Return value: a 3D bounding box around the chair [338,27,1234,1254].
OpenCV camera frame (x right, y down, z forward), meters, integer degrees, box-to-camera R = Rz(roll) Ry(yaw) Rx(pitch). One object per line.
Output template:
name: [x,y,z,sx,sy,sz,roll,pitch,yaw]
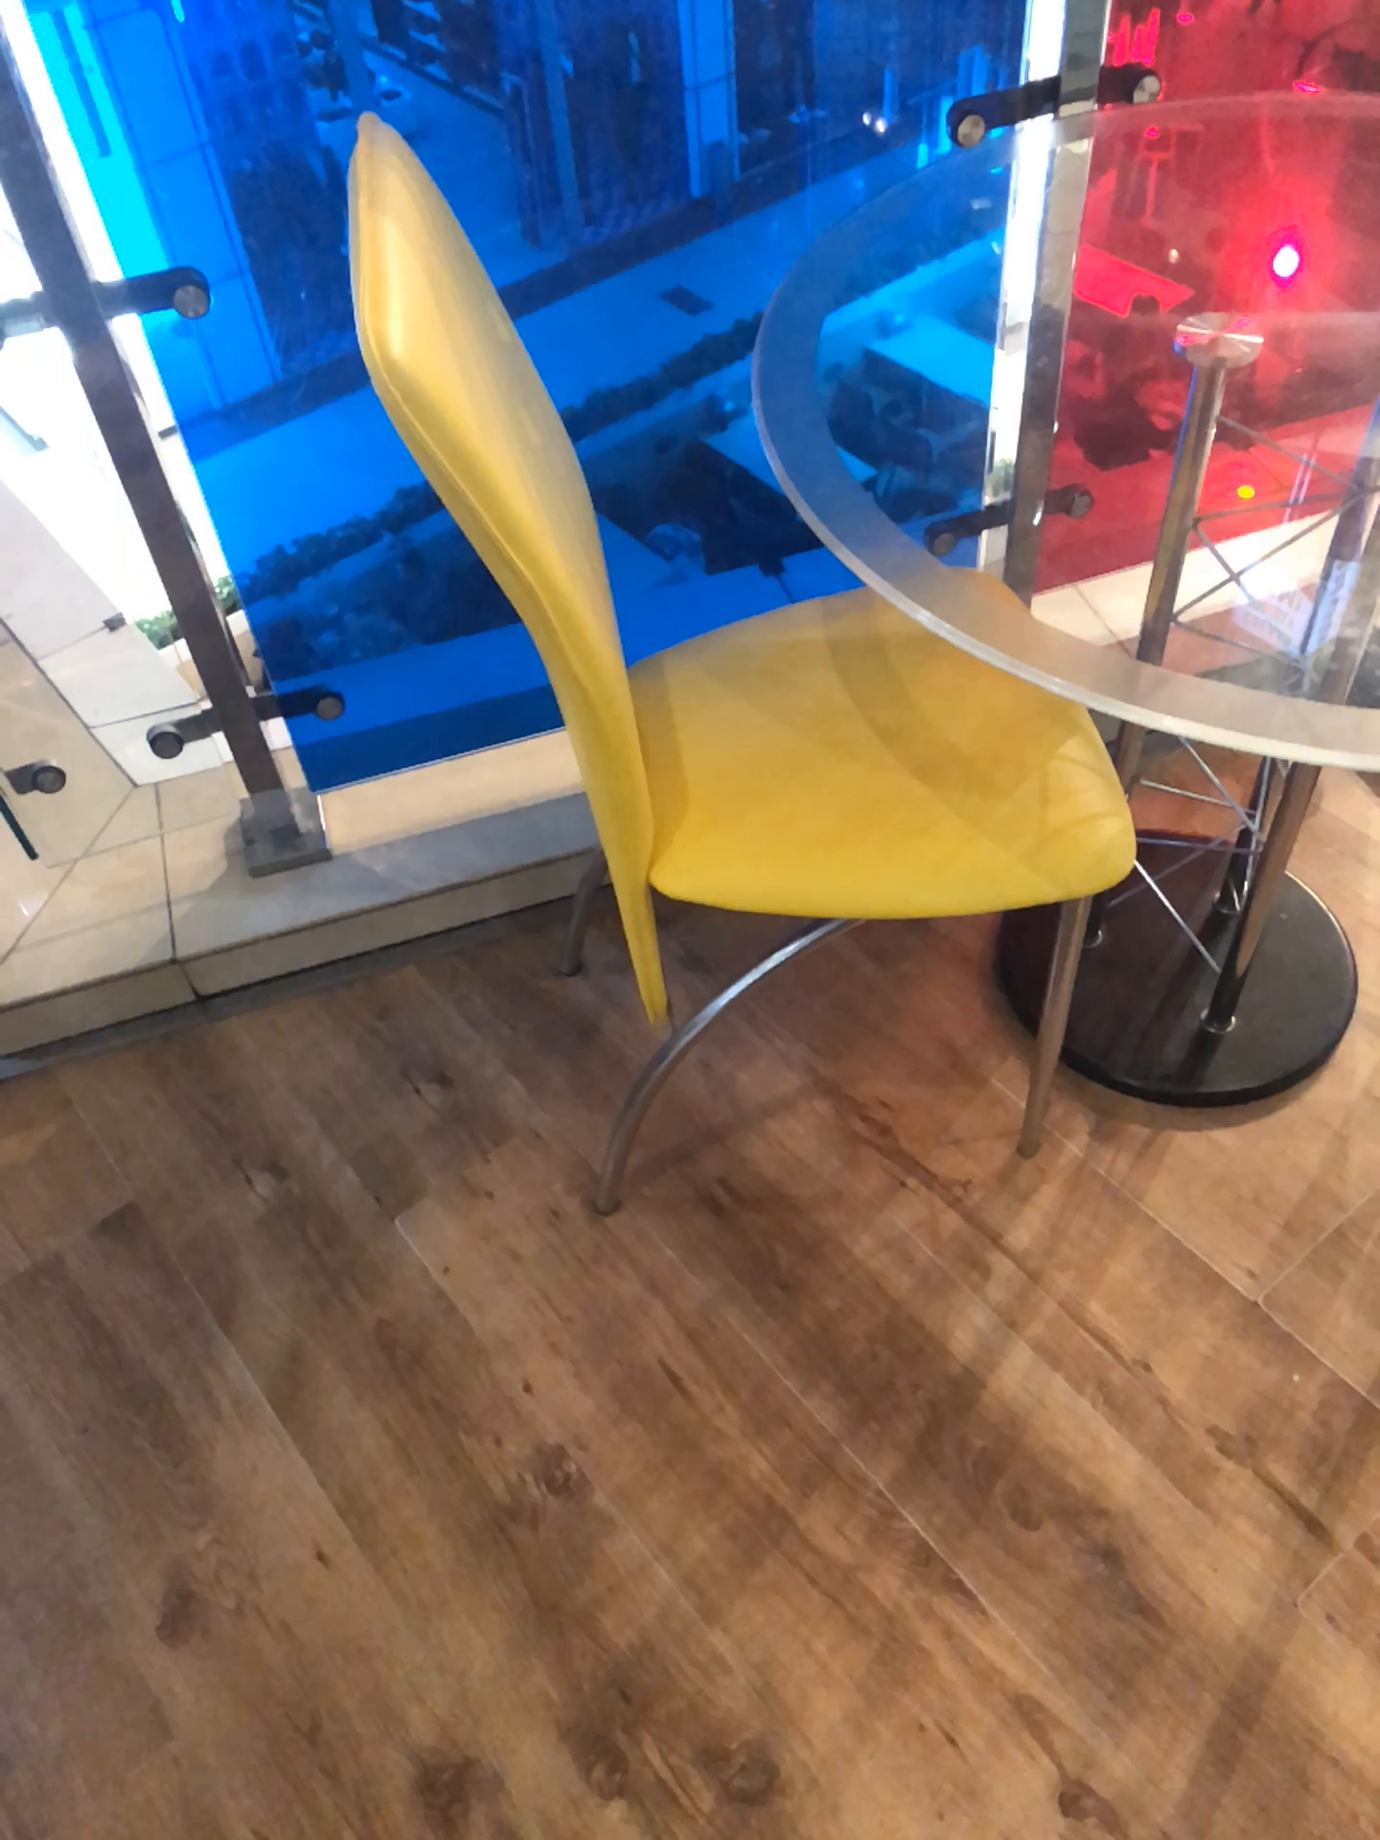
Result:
chair: [0.055,-0.163,1.294,0.490,0.897,0.432,-9,49,-3]
